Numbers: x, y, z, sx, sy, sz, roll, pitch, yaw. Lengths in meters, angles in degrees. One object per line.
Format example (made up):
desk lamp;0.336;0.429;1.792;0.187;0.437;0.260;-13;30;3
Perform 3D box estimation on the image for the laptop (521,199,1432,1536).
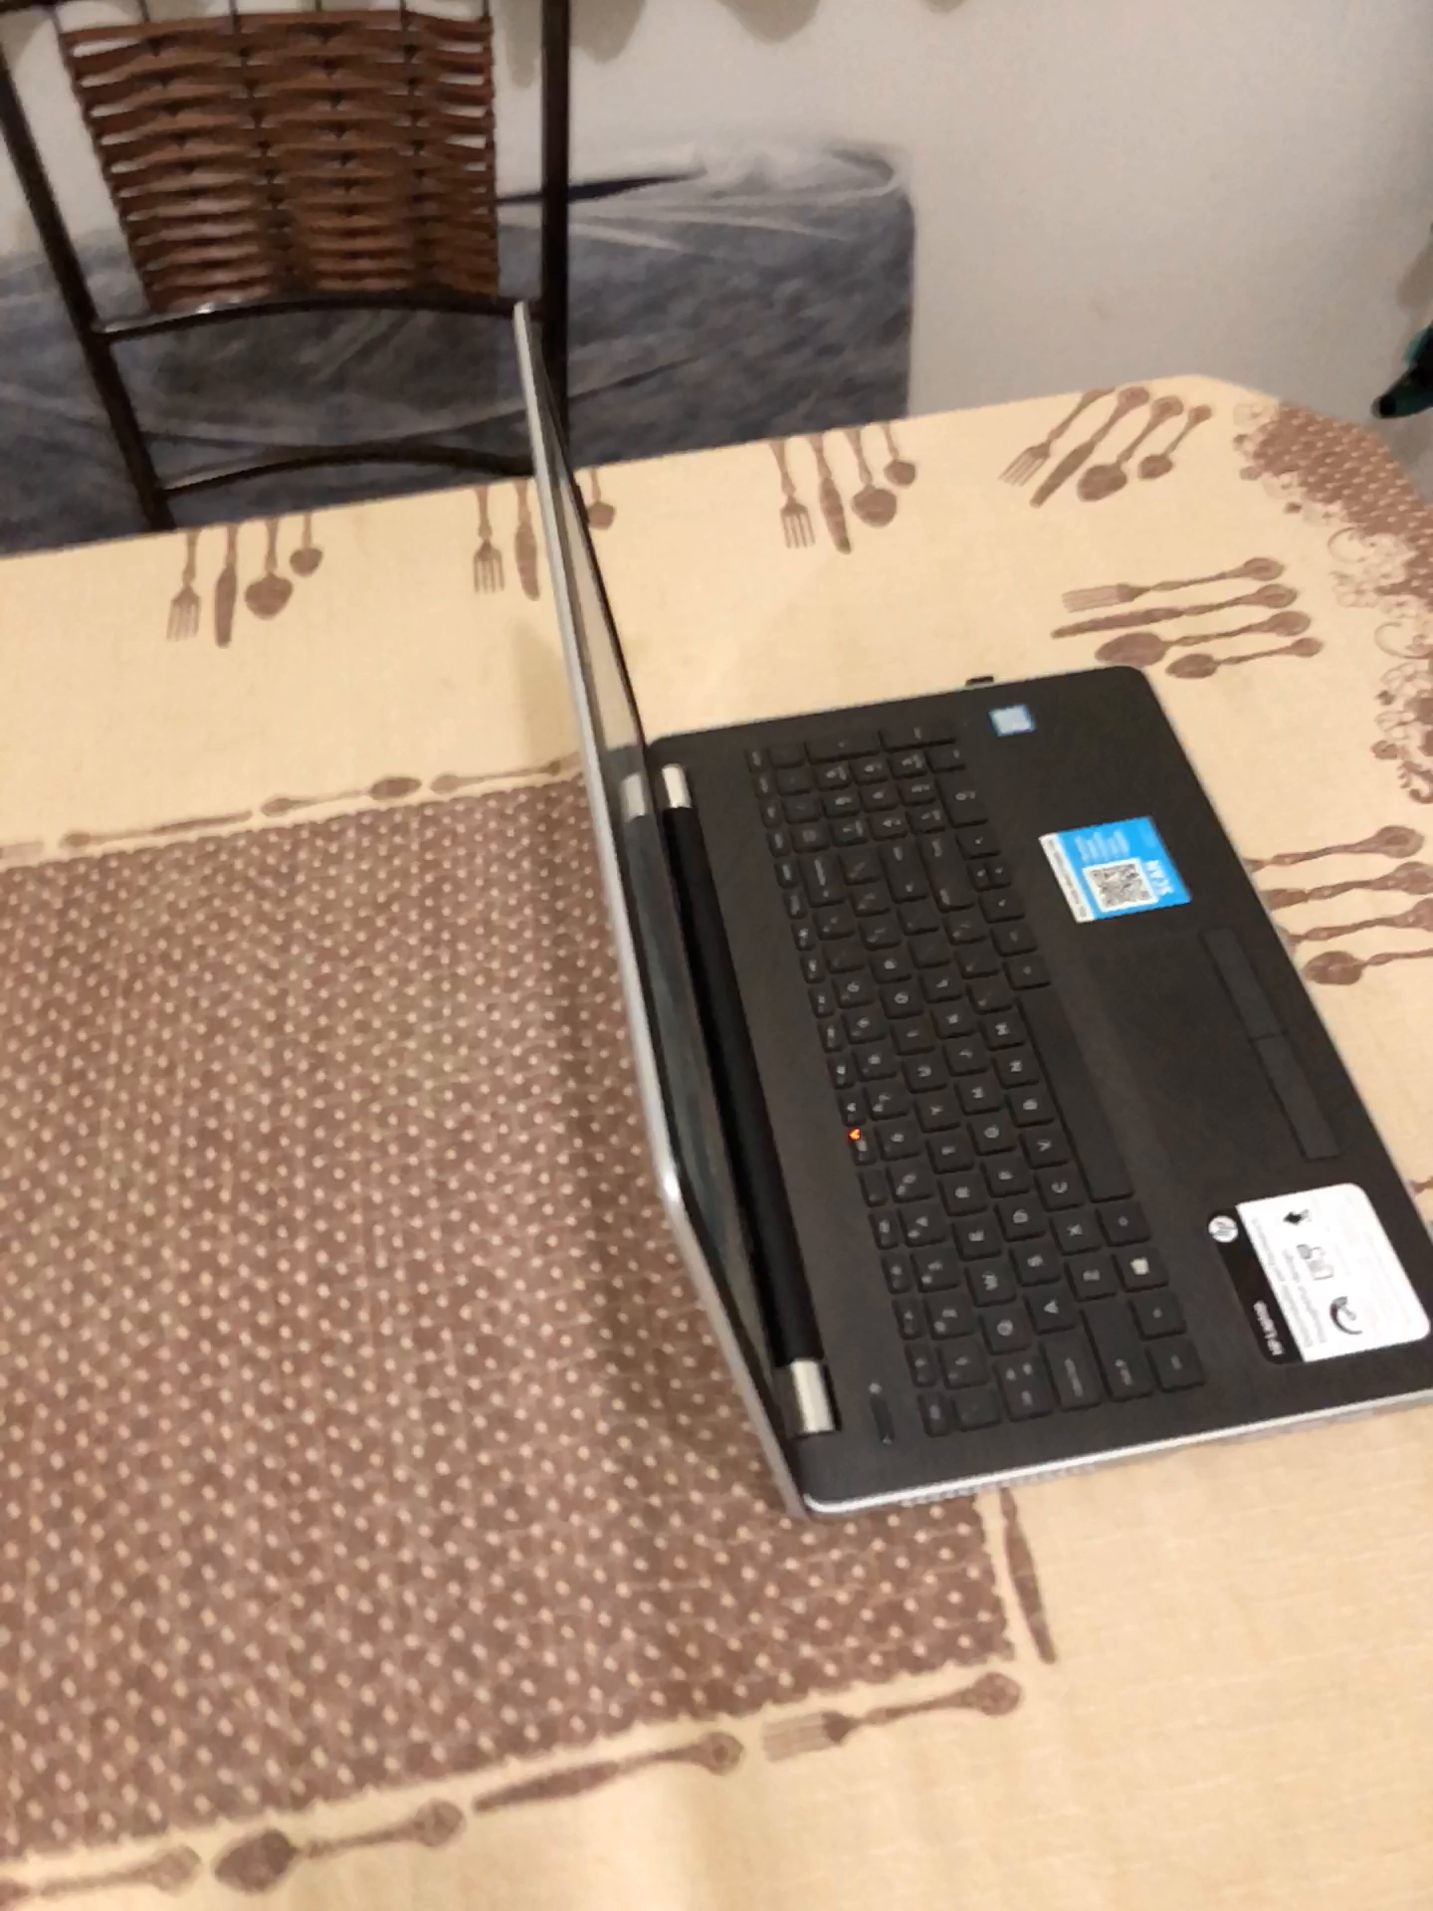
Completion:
laptop;0.097;-0.044;0.545;0.267;0.226;0.361;-10;52;-4
